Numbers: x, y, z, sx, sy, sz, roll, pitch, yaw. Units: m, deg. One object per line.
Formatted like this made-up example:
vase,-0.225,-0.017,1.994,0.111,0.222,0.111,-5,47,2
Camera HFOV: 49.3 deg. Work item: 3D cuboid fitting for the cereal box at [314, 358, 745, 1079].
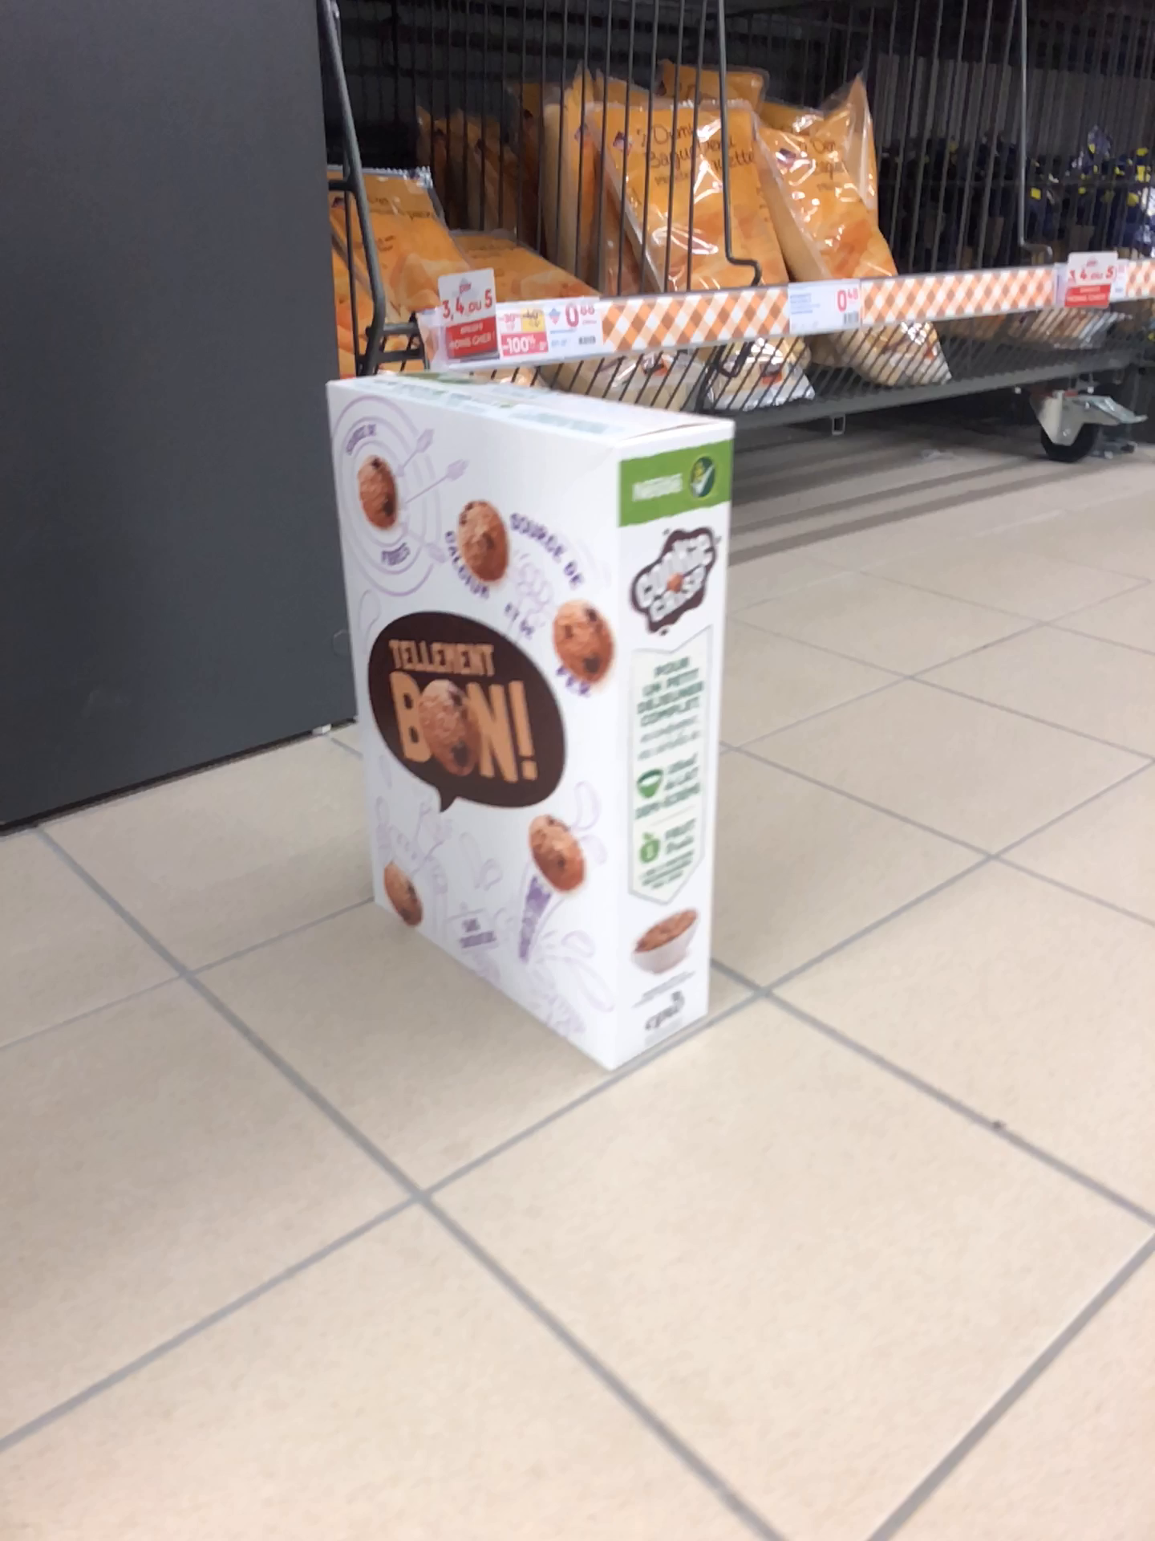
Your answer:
cereal box,-0.030,-0.032,0.566,0.060,0.268,0.200,-20,32,-38
